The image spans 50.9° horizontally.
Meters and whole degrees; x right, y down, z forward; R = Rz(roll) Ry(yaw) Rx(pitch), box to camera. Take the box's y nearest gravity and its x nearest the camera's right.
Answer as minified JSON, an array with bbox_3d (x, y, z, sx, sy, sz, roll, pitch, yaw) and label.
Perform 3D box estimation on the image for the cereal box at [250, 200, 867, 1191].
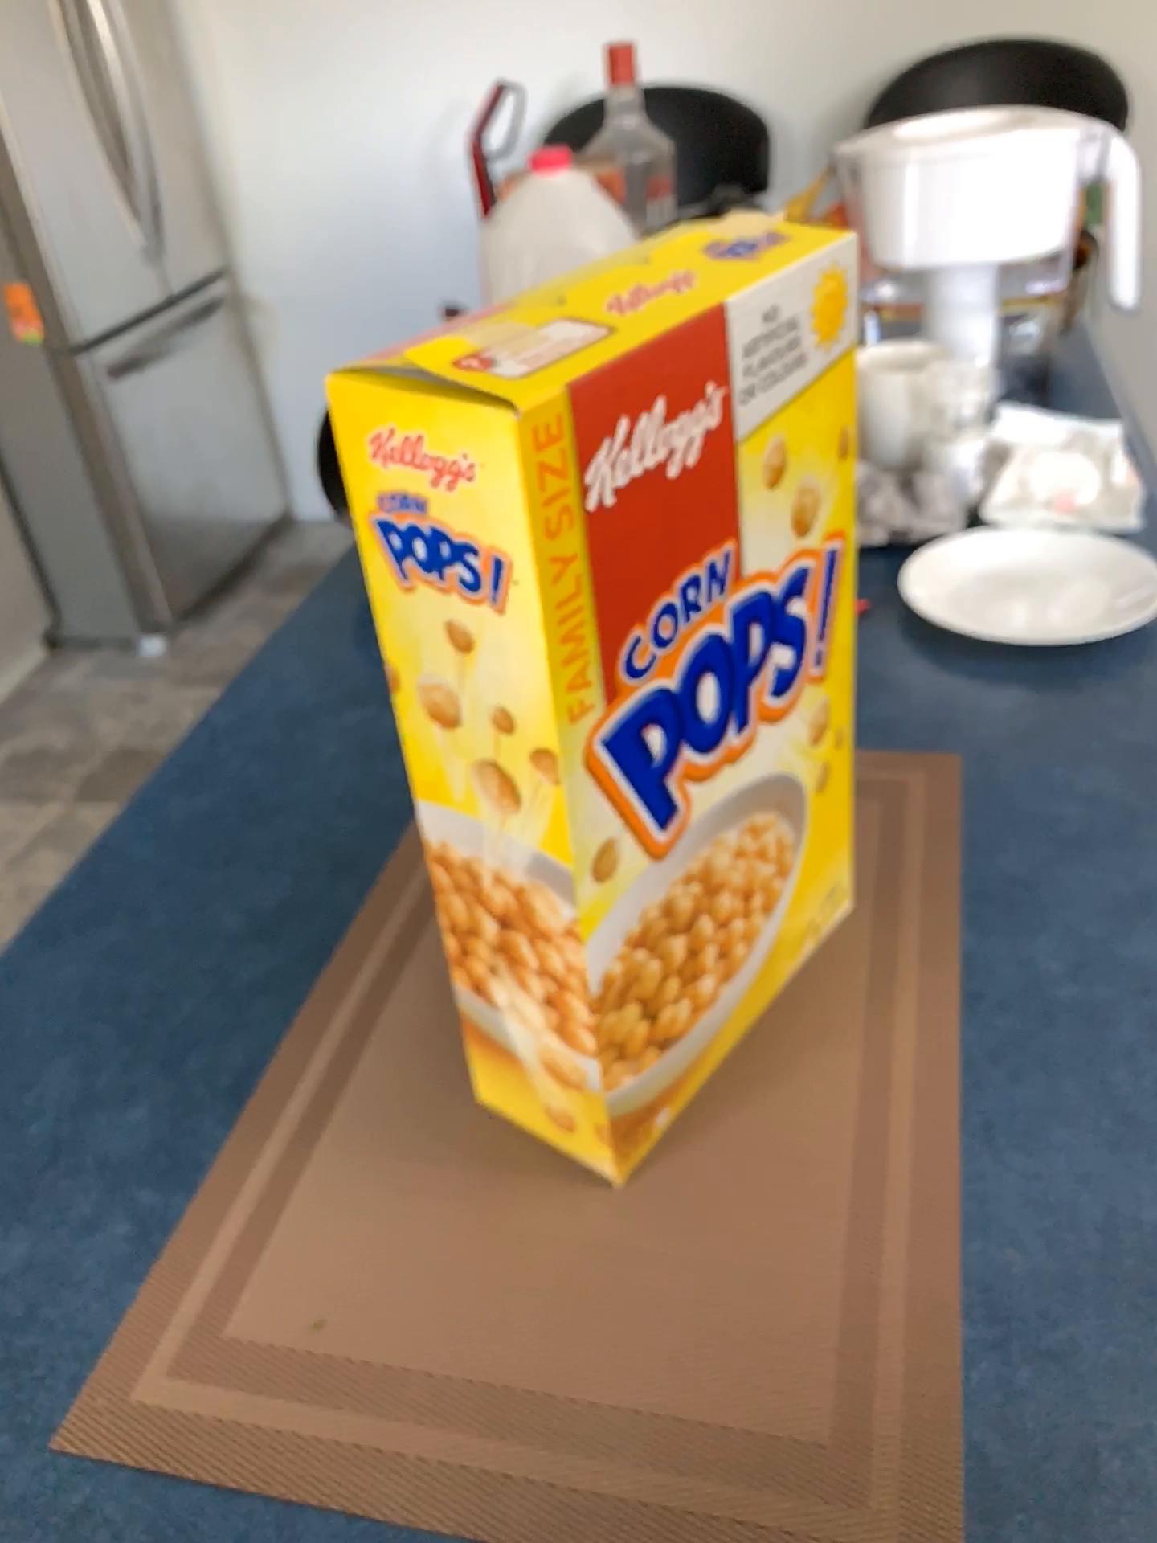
[{"bbox_3d":[0.022,-0.032,0.481,0.090,0.317,0.211,18,41,34],"label":"cereal box"}]
